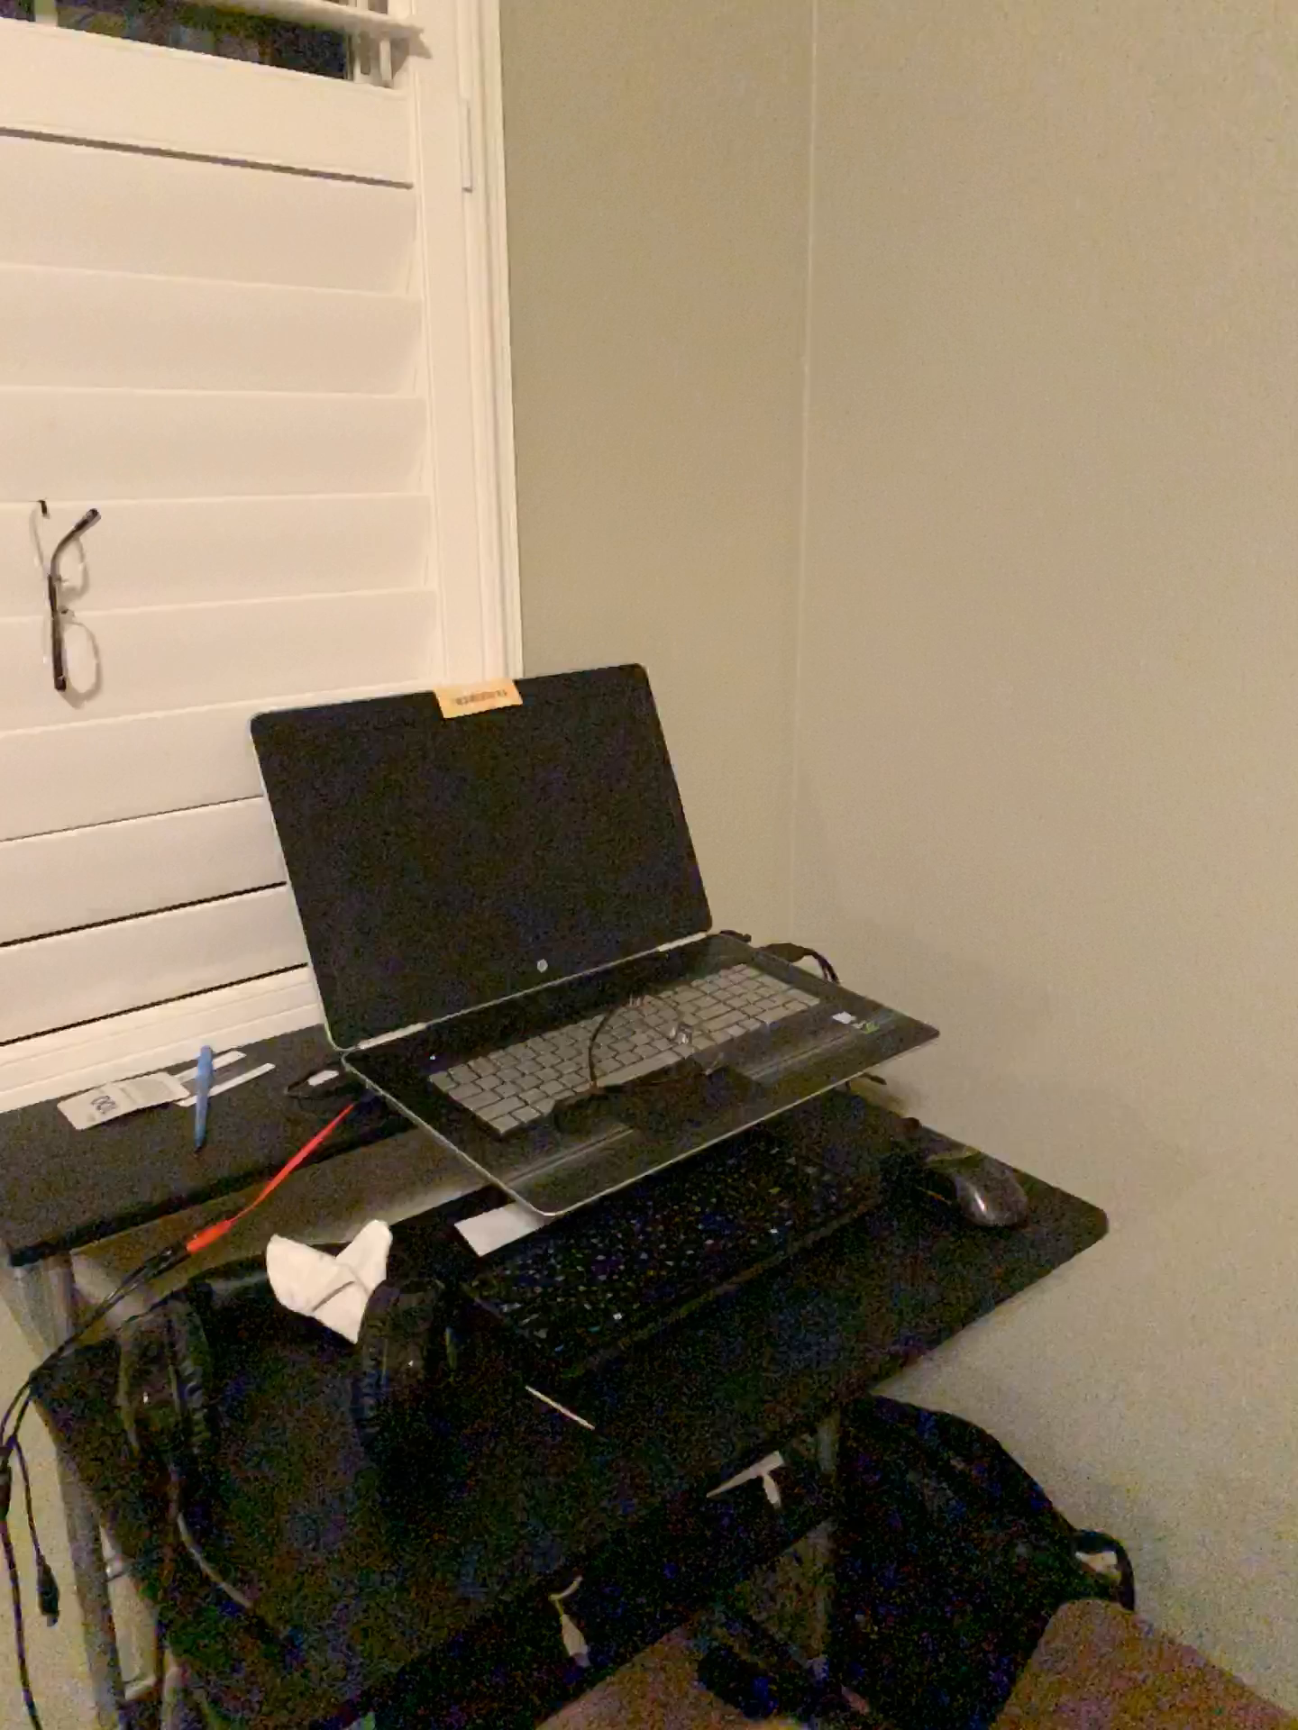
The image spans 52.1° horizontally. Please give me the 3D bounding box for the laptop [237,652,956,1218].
[{"bbox_3d":[-0.045,0.007,1.142,0.434,0.263,0.419,-14,24,-39],"label":"laptop"}]
